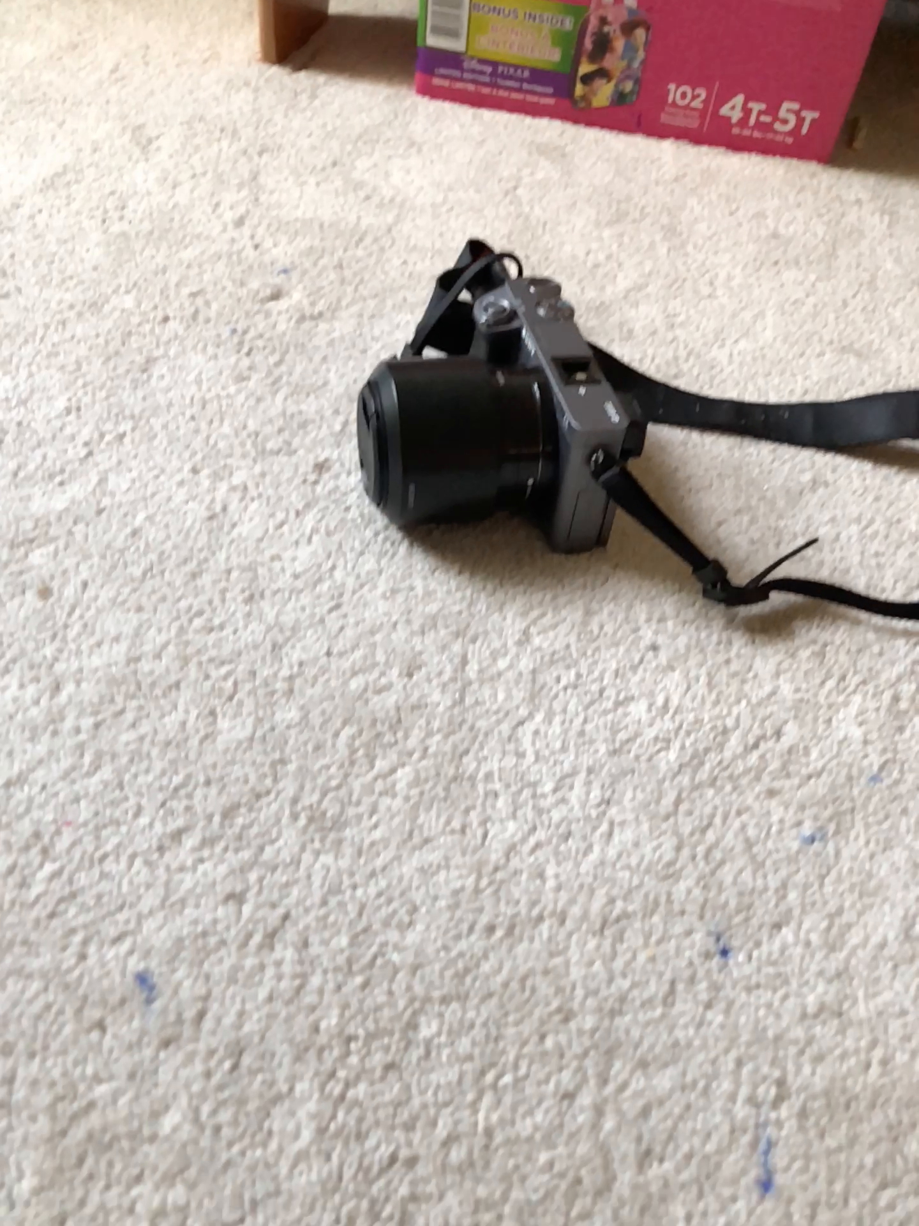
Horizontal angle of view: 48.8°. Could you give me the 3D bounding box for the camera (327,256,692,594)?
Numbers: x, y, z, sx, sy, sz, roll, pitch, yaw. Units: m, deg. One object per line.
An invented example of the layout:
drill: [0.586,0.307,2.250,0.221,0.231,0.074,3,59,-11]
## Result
camera: [0.011,-0.087,0.443,0.120,0.080,0.131,-5,46,-14]
